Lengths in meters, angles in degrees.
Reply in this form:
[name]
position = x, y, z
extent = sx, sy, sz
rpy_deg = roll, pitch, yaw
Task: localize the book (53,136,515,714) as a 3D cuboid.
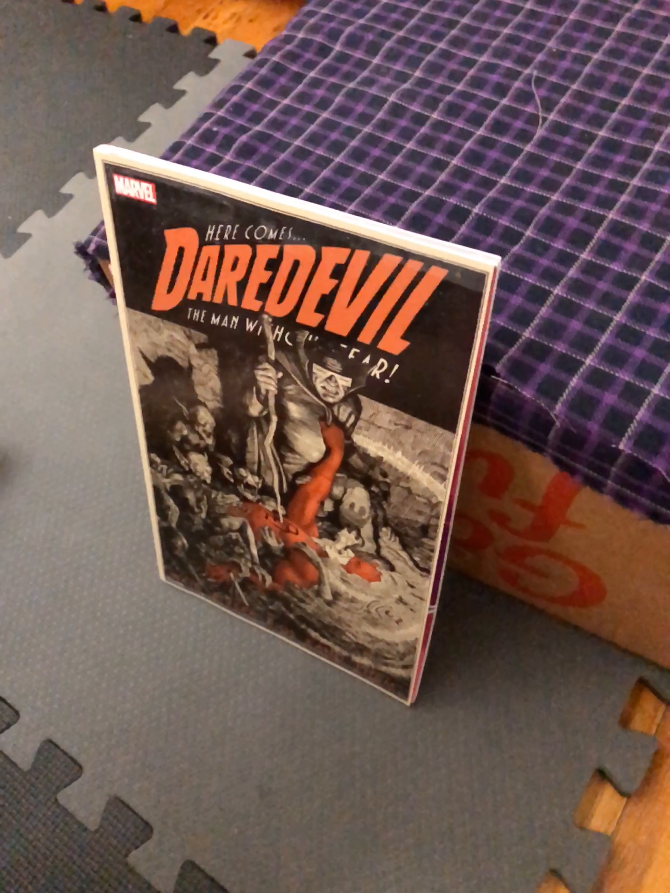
[book]
position = -0.027, 0.006, 0.310
extent = 0.160, 0.229, 0.020
rpy_deg = 21, 44, 20
